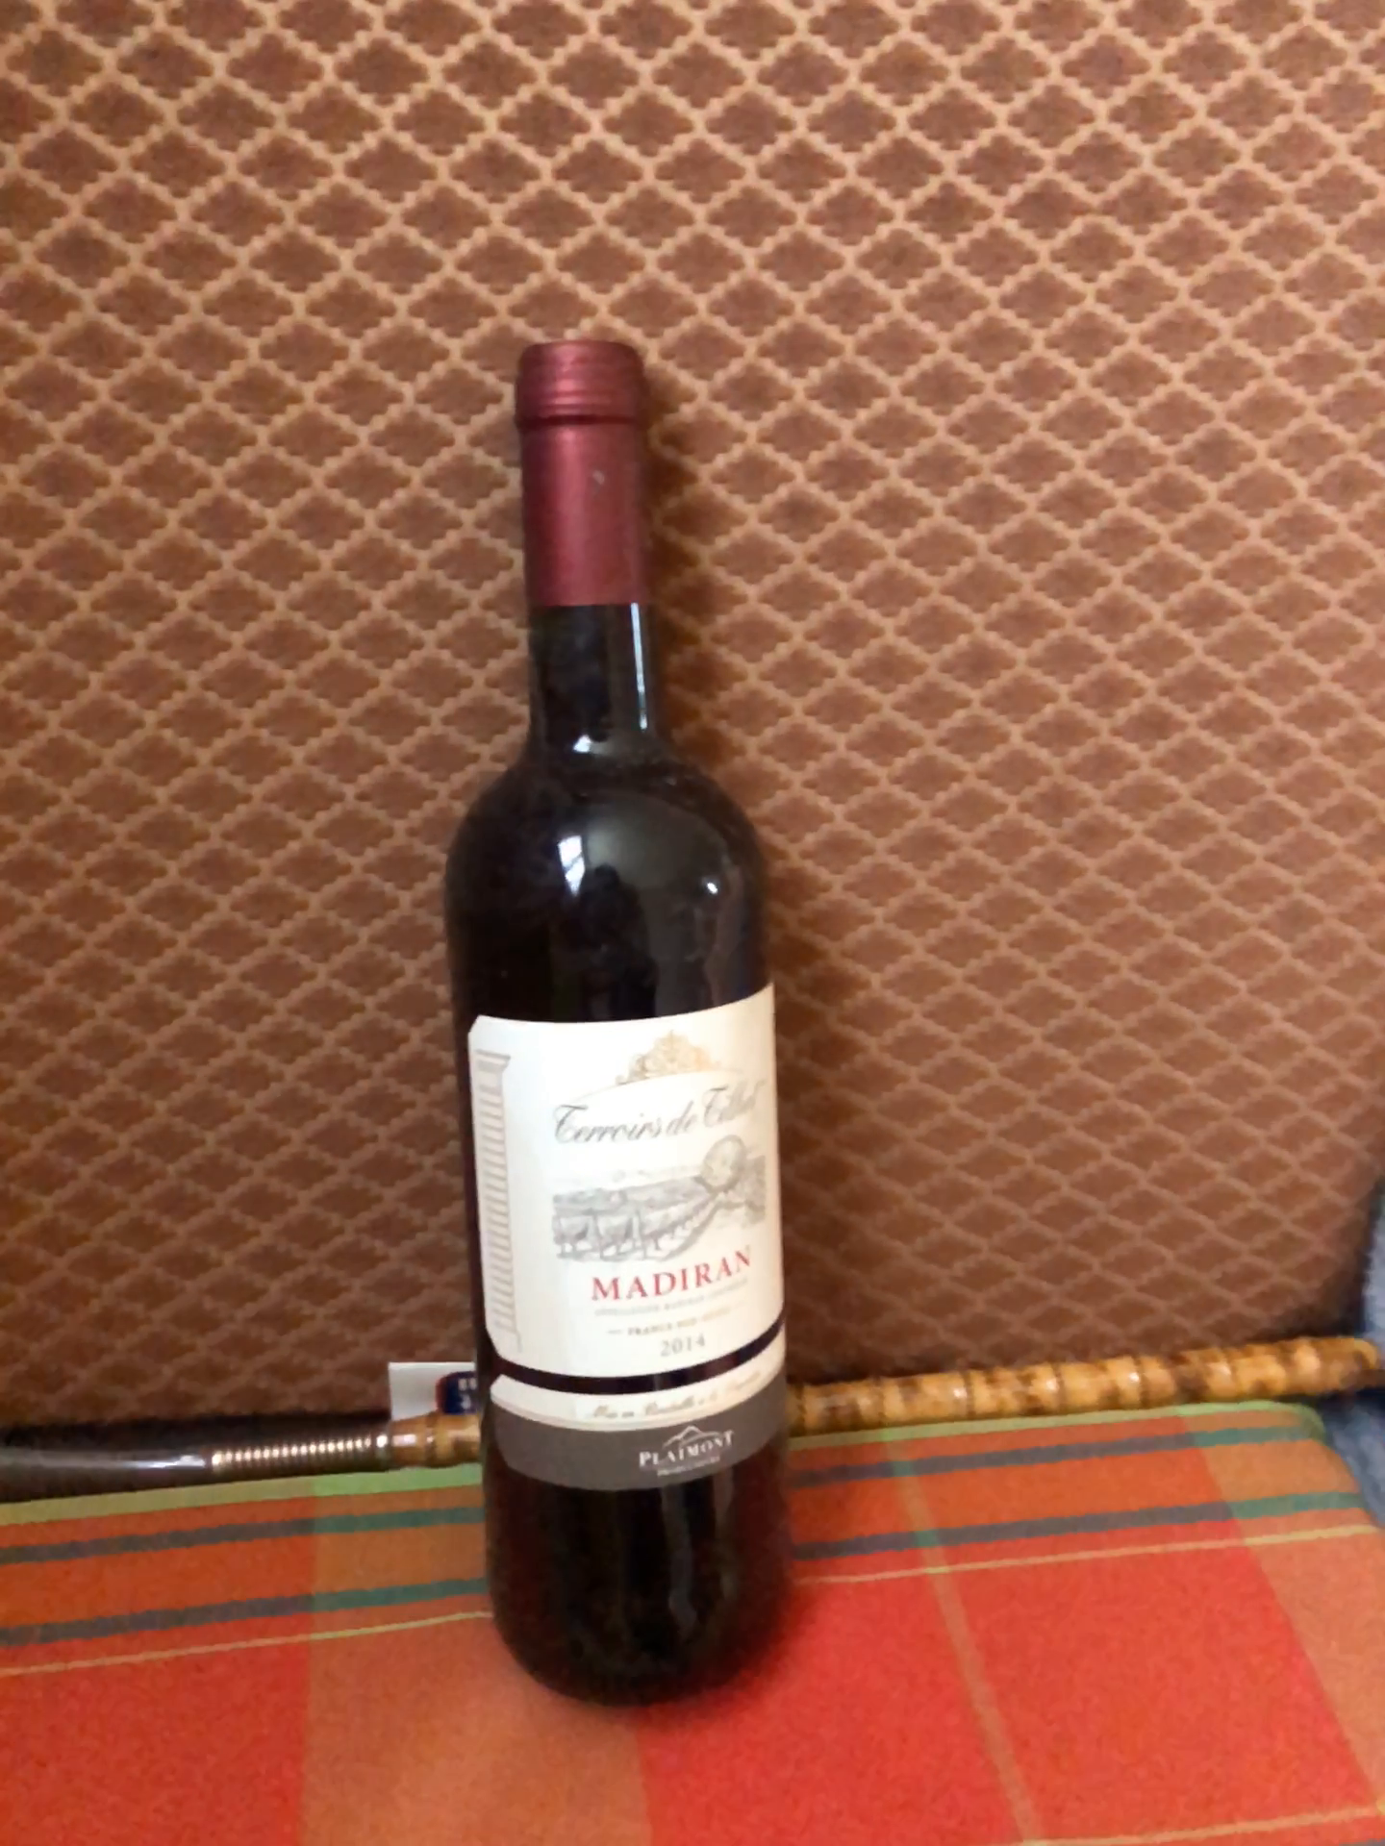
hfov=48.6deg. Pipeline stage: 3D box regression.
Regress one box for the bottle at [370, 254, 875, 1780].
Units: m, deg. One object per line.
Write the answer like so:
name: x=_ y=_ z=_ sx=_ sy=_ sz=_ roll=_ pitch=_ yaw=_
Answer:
bottle: x=-0.016 y=0.020 z=0.345 sx=0.080 sy=0.299 sz=0.090 roll=-5 pitch=12 yaw=-17
